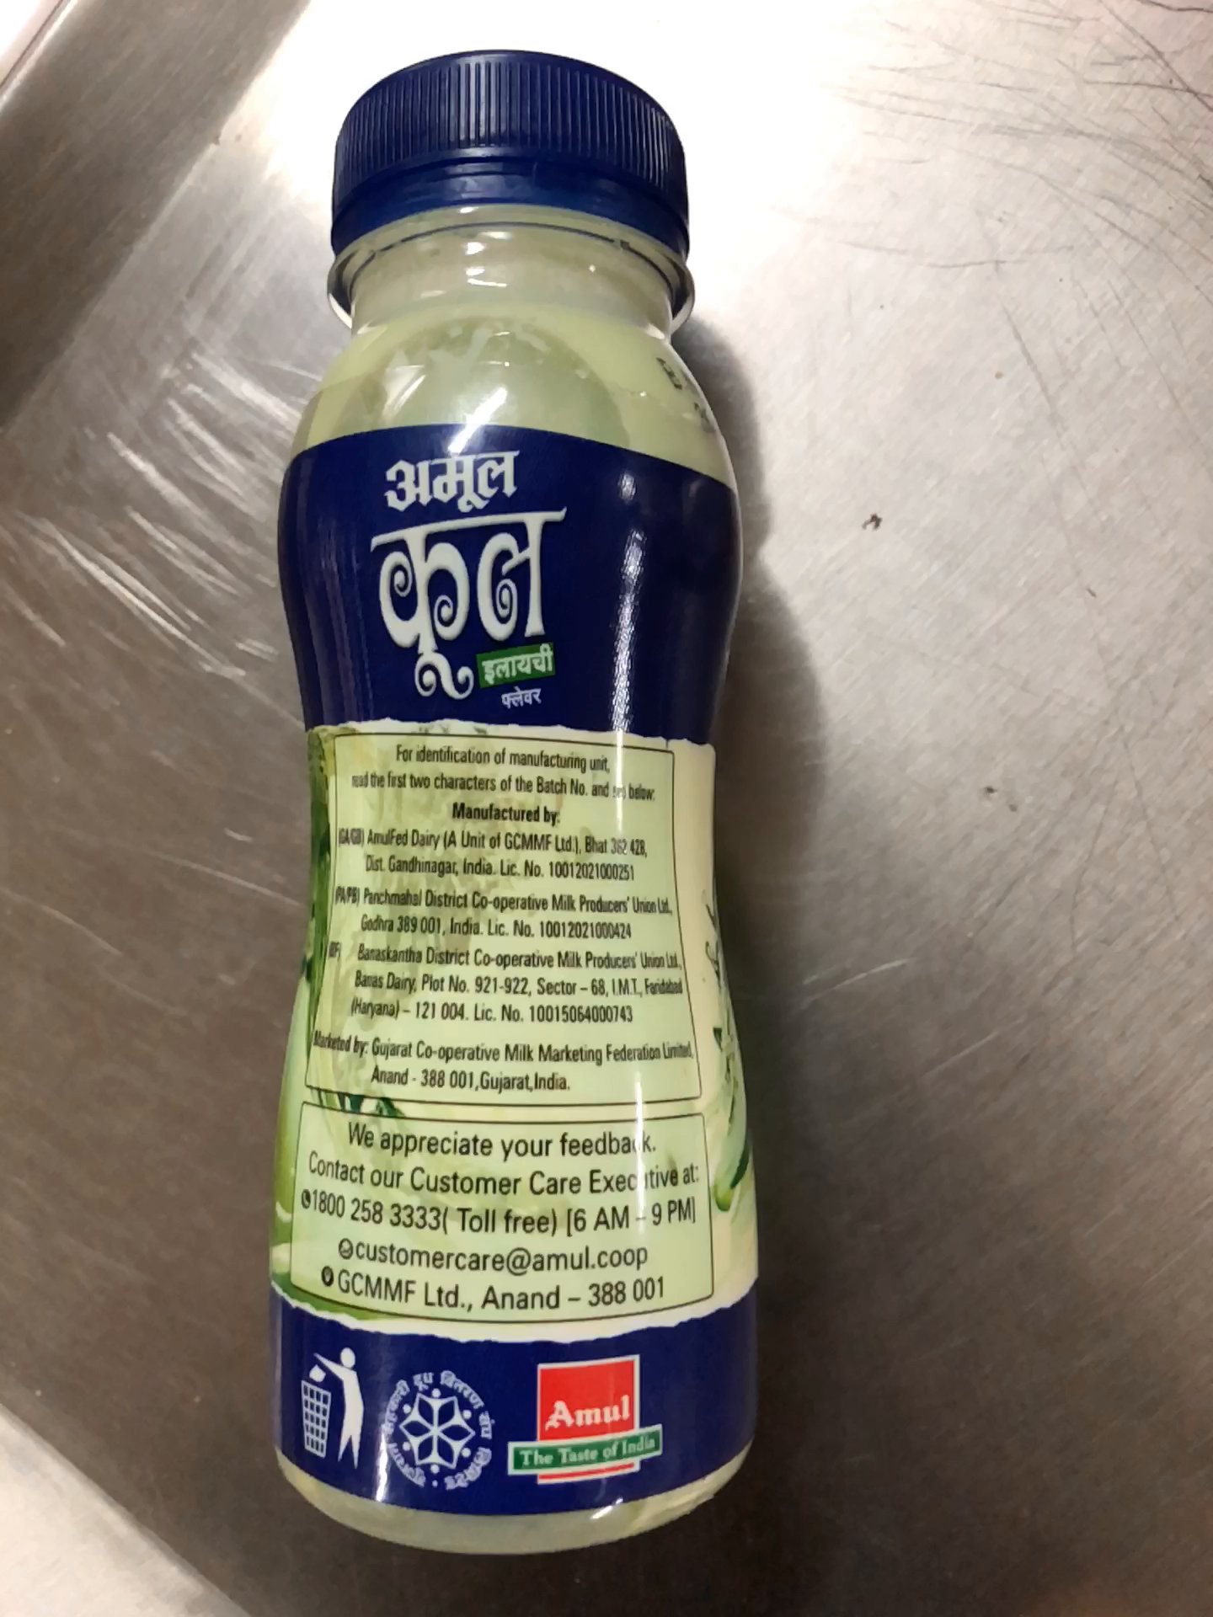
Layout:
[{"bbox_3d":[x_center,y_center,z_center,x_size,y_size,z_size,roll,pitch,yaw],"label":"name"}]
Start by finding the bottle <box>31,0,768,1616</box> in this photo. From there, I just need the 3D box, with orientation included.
[{"bbox_3d":[-0.013,-0.012,0.120,0.050,0.040,0.150,-1,86,11],"label":"bottle"}]
